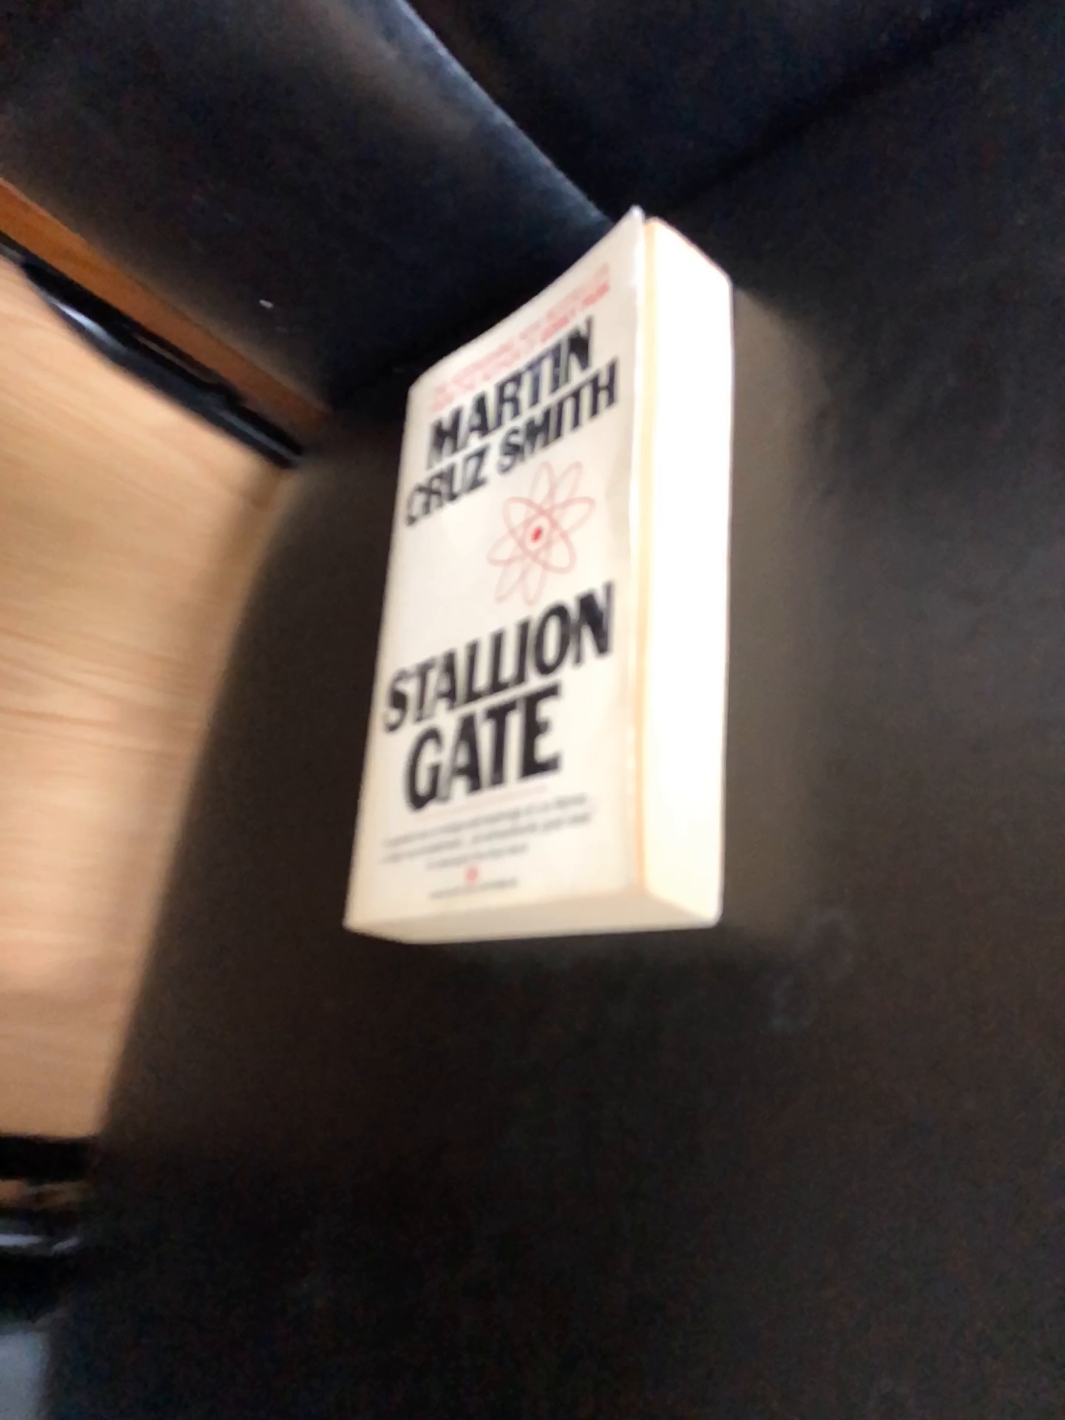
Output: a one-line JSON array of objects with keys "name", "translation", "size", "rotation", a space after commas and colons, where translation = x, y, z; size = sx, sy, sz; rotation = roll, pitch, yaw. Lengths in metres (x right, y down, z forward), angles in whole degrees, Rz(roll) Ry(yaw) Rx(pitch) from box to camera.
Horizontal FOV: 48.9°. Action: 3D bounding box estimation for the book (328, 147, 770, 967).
[{"name": "book", "translation": [0.005, -0.033, 0.302], "size": [0.111, 0.030, 0.190], "rotation": [-14, 63, 45]}]
